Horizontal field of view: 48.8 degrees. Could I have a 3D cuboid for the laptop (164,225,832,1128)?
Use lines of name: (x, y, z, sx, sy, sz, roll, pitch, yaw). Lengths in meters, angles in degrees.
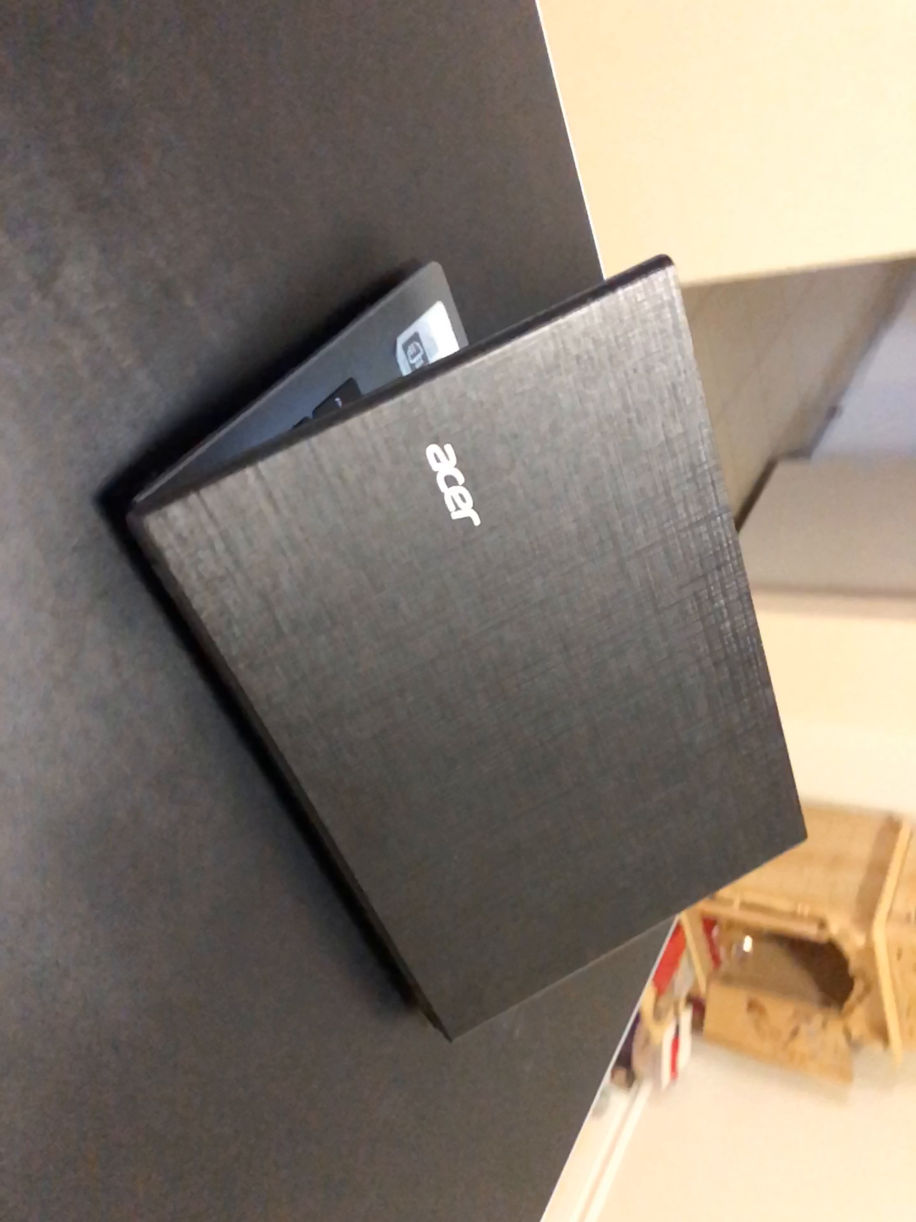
laptop: (0.065, 0.036, 0.542, 0.252, 0.155, 0.370, -53, 132, -39)
